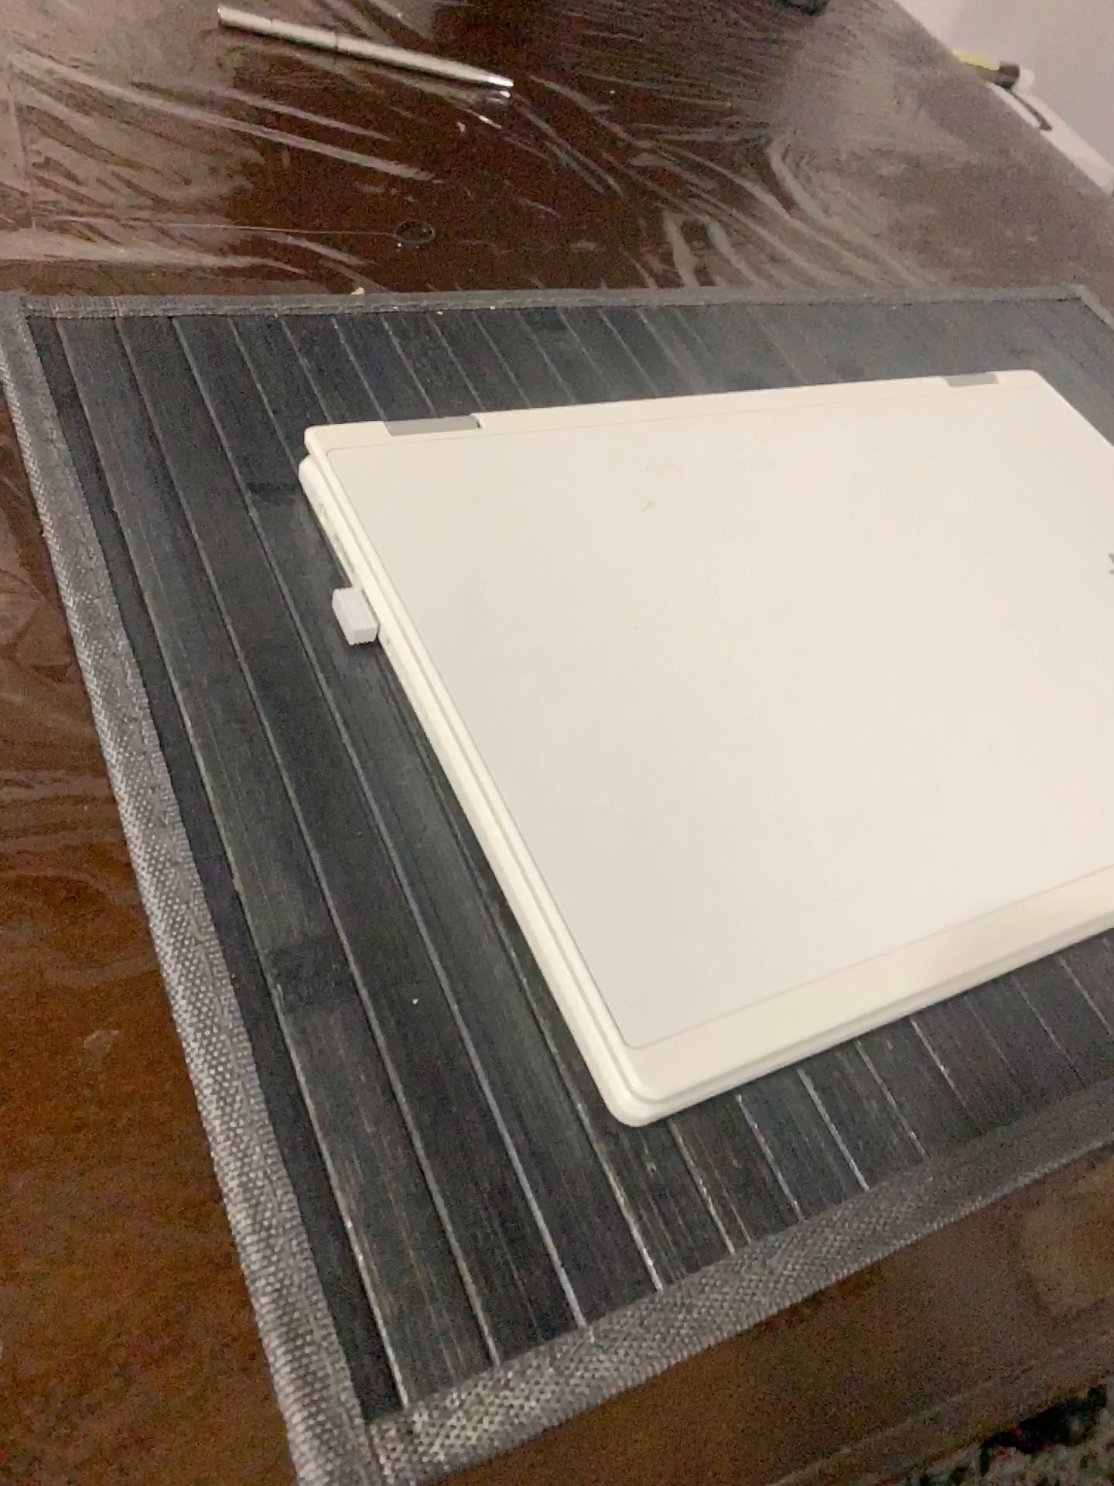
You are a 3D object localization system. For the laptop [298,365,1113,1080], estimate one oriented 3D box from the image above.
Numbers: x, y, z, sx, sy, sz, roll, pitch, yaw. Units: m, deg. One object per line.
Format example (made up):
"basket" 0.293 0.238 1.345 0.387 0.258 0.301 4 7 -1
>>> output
"laptop" 0.094 -0.038 0.324 0.279 0.002 0.195 -13 57 -25
